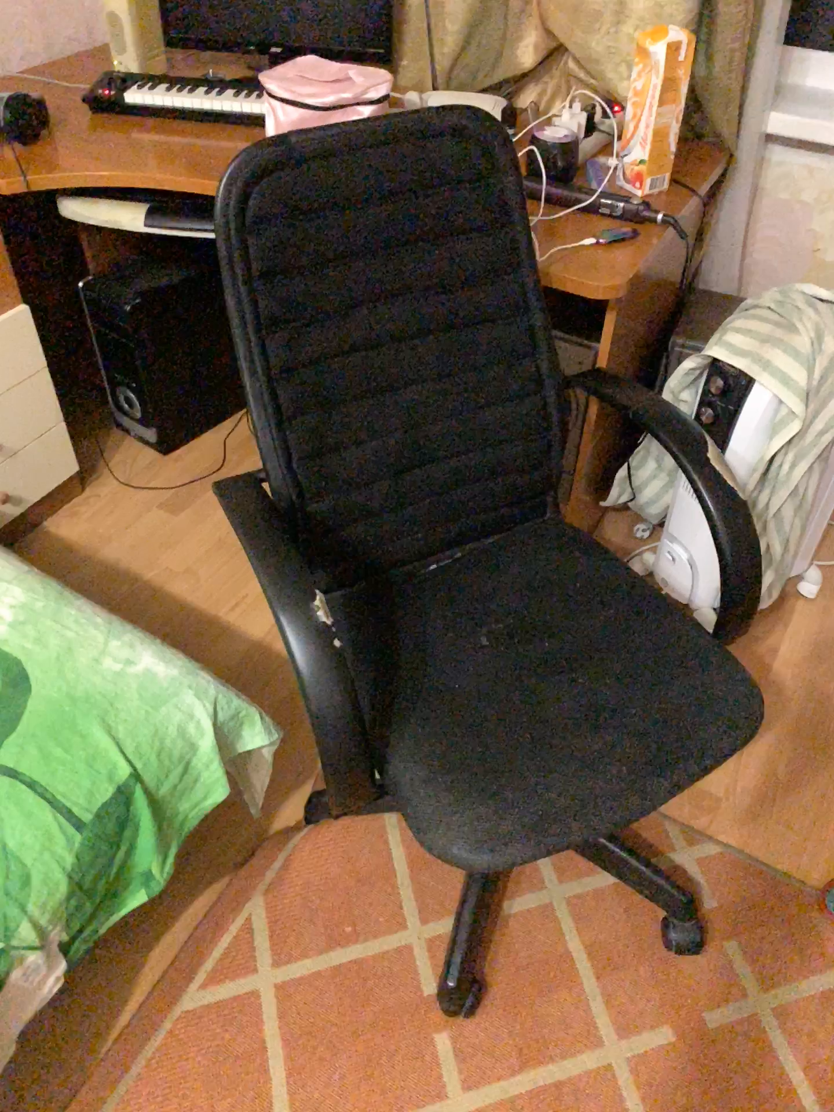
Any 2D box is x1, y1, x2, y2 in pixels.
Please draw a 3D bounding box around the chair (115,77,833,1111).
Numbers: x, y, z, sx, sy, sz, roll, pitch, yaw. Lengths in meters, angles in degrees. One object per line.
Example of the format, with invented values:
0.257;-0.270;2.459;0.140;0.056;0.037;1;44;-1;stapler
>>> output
0.146;0.062;1.102;0.671;0.991;0.725;-20;47;-21;chair
